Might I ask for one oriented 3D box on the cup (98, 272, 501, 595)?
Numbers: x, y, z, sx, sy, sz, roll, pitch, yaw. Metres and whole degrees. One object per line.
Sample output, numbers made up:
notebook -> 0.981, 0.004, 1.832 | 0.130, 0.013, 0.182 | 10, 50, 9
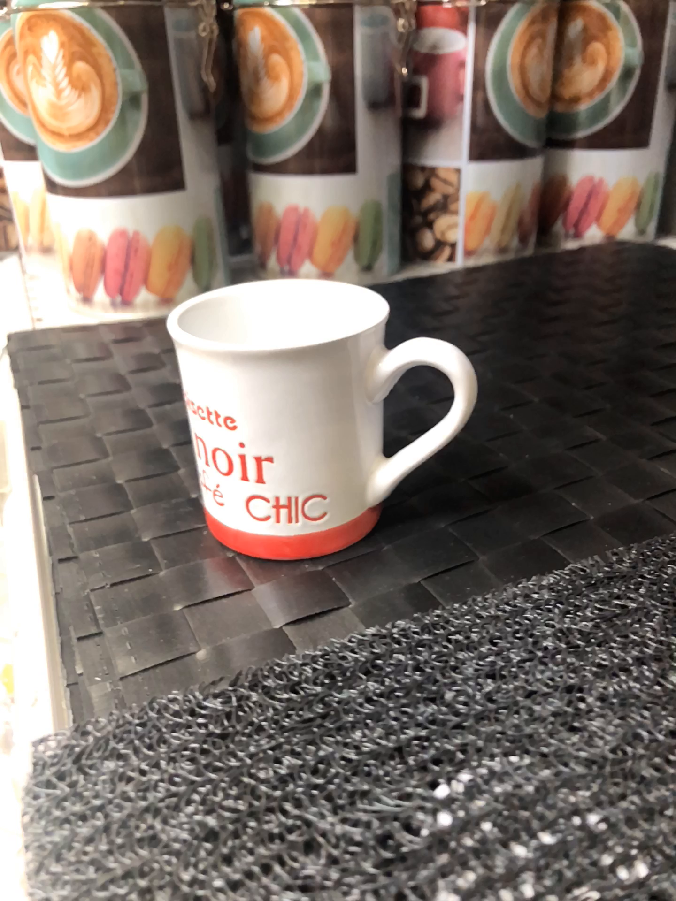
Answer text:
cup -> -0.006, -0.011, 0.230 | 0.096, 0.064, 0.068 | 7, 30, 18
